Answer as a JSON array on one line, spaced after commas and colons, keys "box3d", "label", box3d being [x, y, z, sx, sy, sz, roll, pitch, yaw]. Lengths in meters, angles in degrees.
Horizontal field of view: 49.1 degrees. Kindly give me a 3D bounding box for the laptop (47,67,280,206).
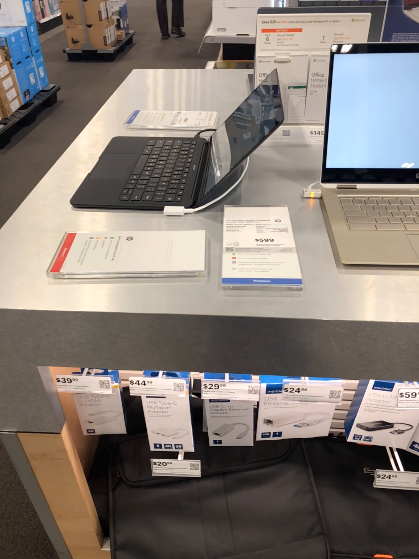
[{"box3d": [-0.056, -0.263, 0.806, 0.334, 0.134, 0.295, 2, 38, 5], "label": "laptop"}]
